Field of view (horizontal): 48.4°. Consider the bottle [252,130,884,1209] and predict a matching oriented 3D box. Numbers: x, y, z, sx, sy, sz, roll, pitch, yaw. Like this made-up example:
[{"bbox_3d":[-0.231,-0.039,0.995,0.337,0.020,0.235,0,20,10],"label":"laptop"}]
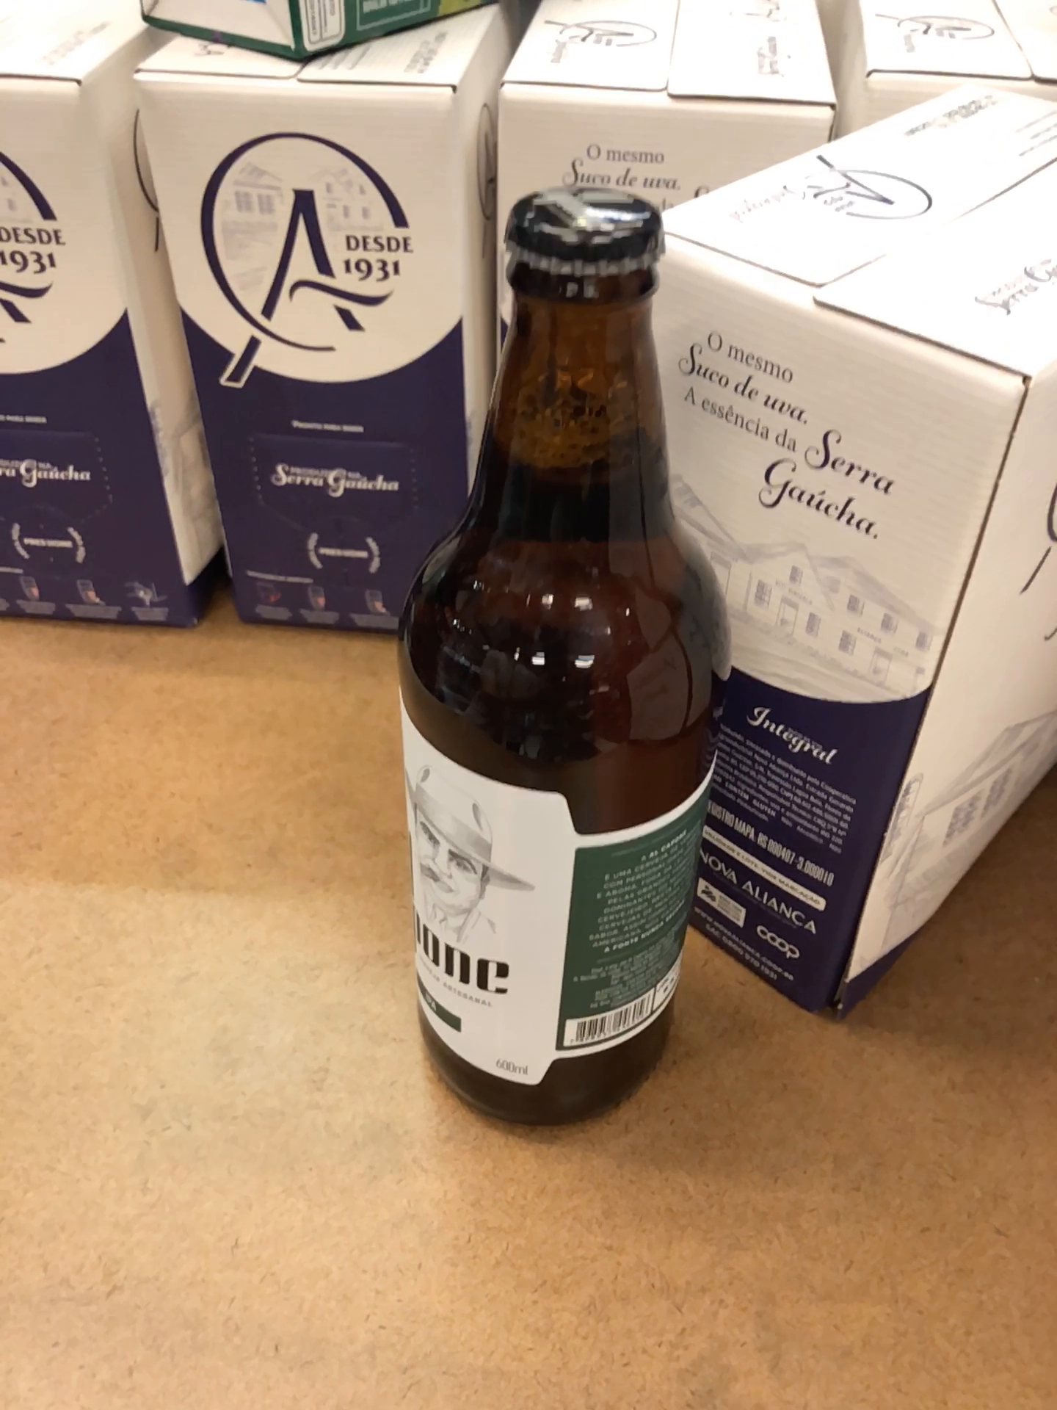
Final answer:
[{"bbox_3d":[0.002,0.008,0.267,0.070,0.228,0.080,-23,46,-25],"label":"bottle"}]
